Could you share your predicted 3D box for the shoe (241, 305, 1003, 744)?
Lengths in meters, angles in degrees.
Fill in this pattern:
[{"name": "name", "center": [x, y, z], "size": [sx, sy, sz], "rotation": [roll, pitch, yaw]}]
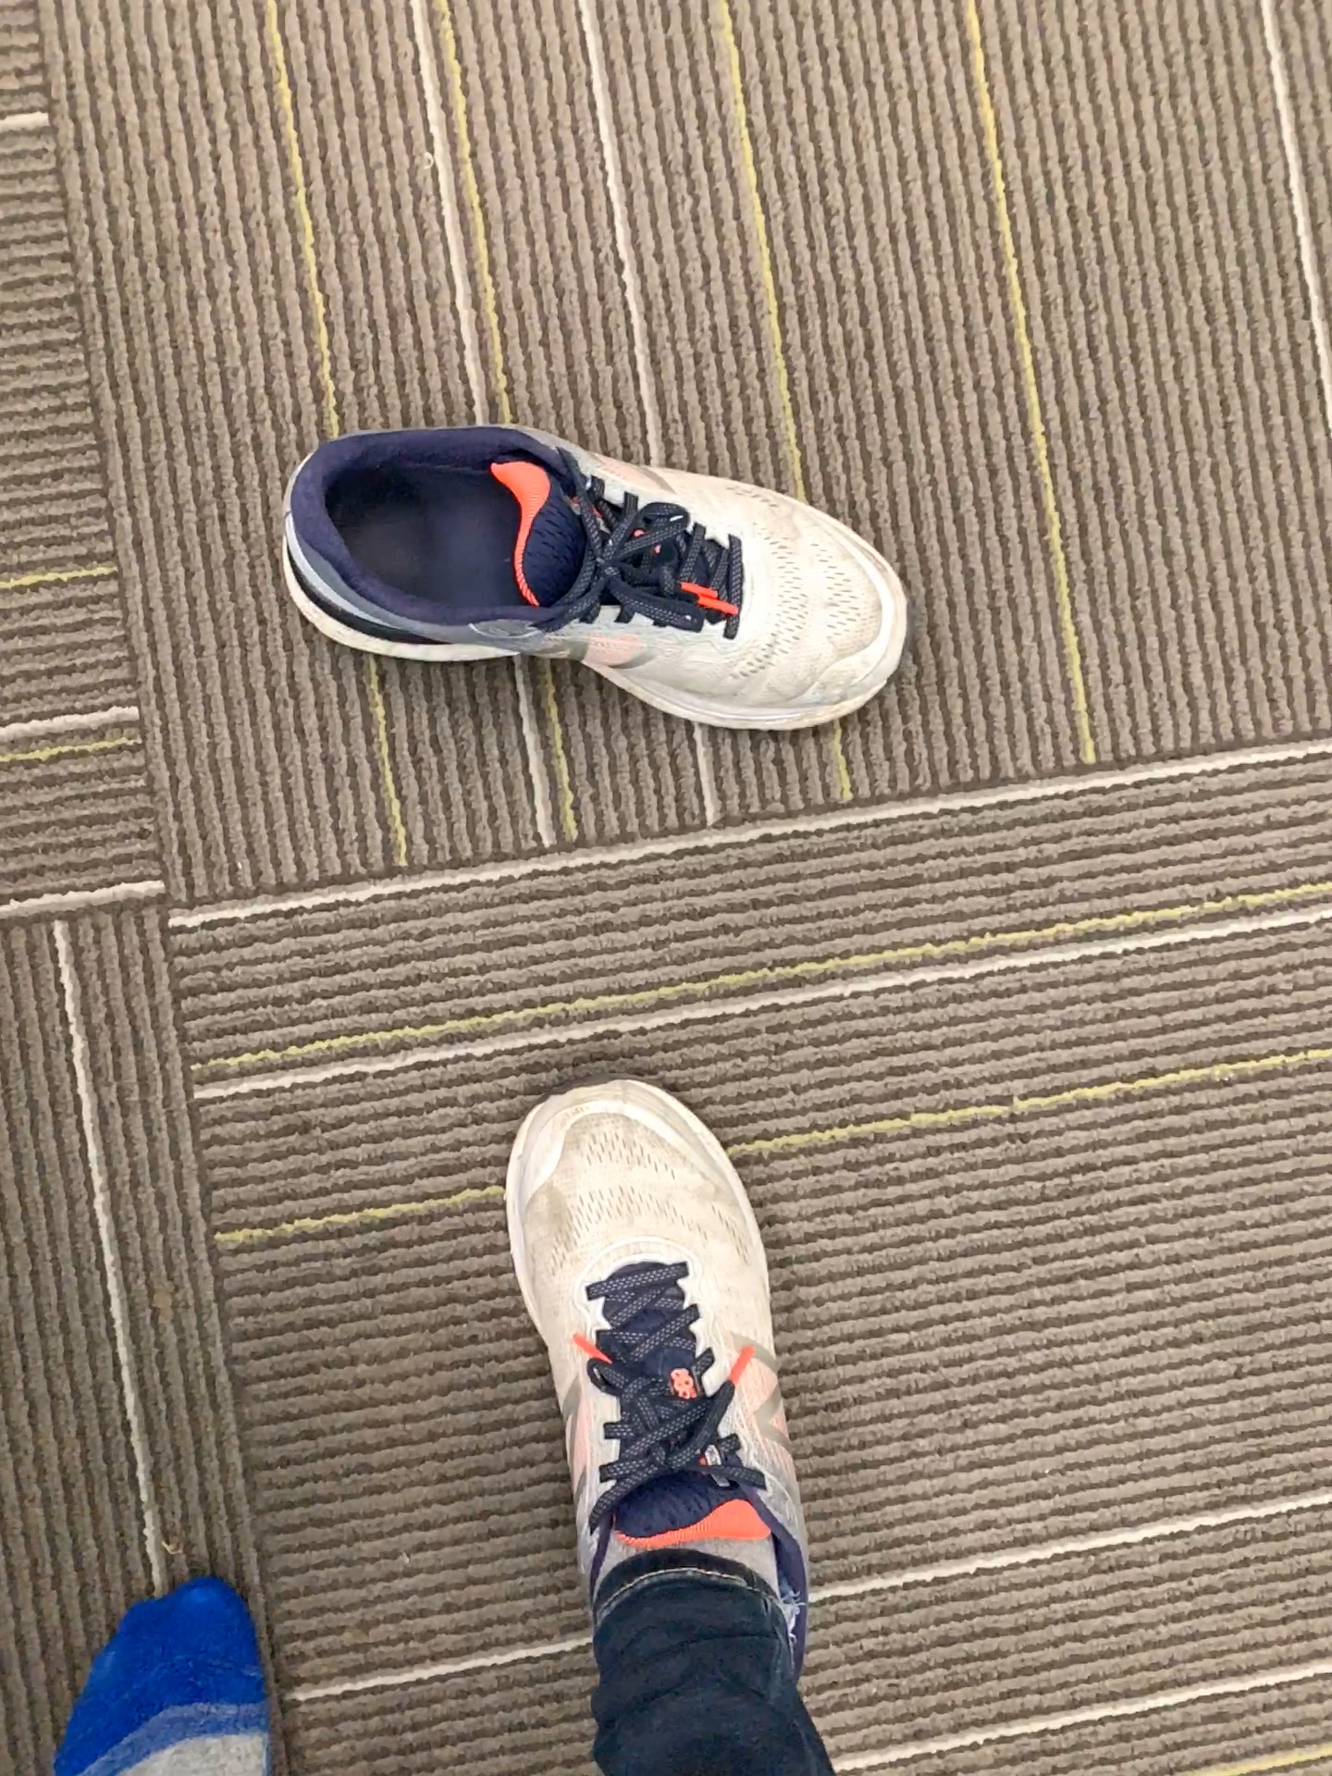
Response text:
[{"name": "shoe", "center": [-0.017, -0.134, 0.545], "size": [0.260, 0.120, 0.110], "rotation": [6, 88, -3]}]
